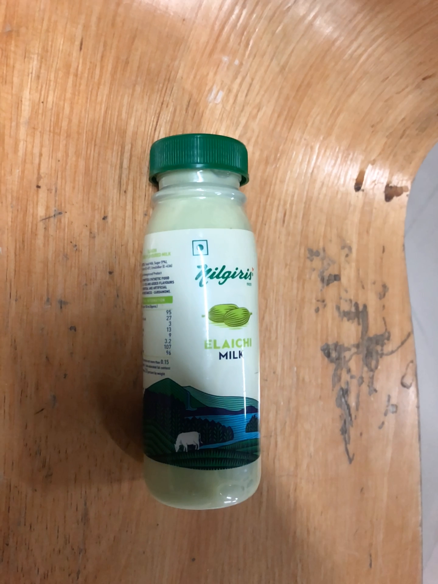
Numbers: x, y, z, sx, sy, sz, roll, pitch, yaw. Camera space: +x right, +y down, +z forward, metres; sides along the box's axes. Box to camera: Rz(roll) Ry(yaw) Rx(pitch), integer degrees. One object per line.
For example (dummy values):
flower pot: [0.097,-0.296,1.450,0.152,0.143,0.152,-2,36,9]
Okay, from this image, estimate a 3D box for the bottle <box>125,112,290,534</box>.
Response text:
bottle: [-0.004,0.010,0.194,0.050,0.040,0.140,1,88,-36]
